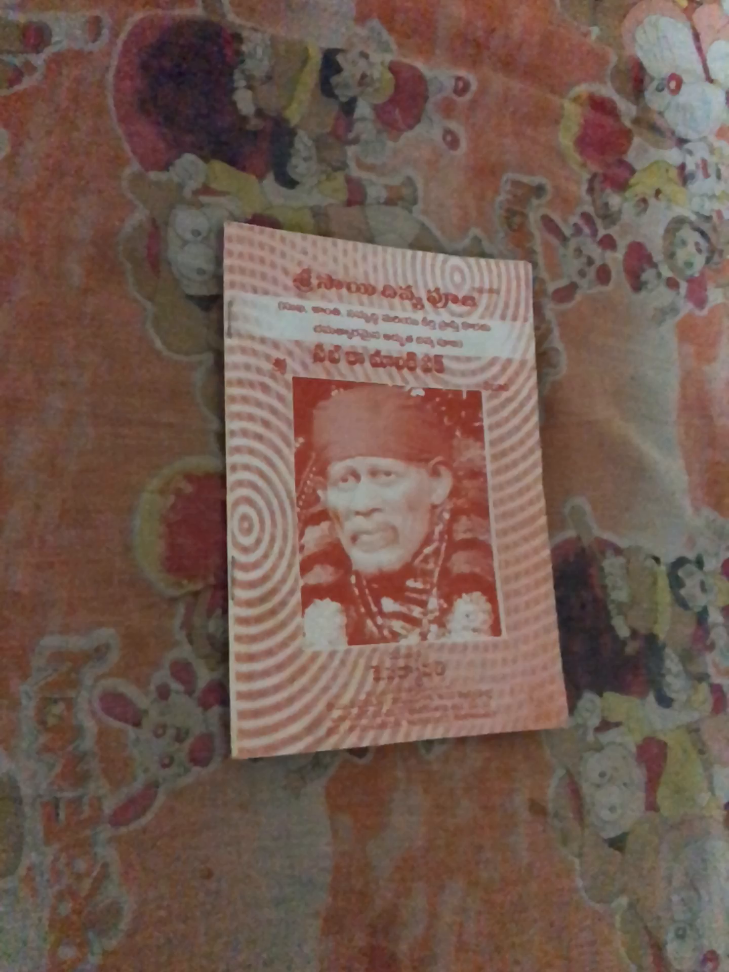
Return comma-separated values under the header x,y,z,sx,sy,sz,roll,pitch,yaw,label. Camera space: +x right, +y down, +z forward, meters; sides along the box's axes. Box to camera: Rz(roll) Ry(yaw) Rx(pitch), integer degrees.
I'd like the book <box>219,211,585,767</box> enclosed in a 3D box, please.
x,y,z,sx,sy,sz,roll,pitch,yaw,label
0.013,-0.002,0.274,0.120,0.010,0.173,2,78,-22,book
